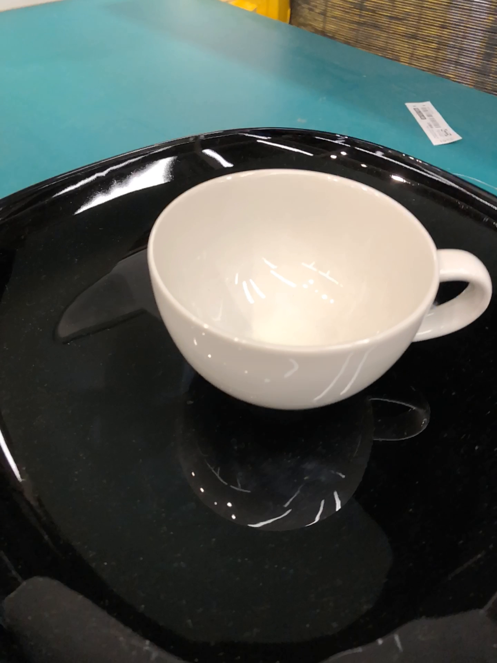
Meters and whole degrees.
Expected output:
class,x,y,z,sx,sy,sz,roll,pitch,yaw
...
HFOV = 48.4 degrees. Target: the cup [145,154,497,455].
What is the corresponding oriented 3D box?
class,x,y,z,sx,sy,sz,roll,pitch,yaw
cup,0.030,-0.019,0.209,0.130,0.040,0.110,-6,44,-6
